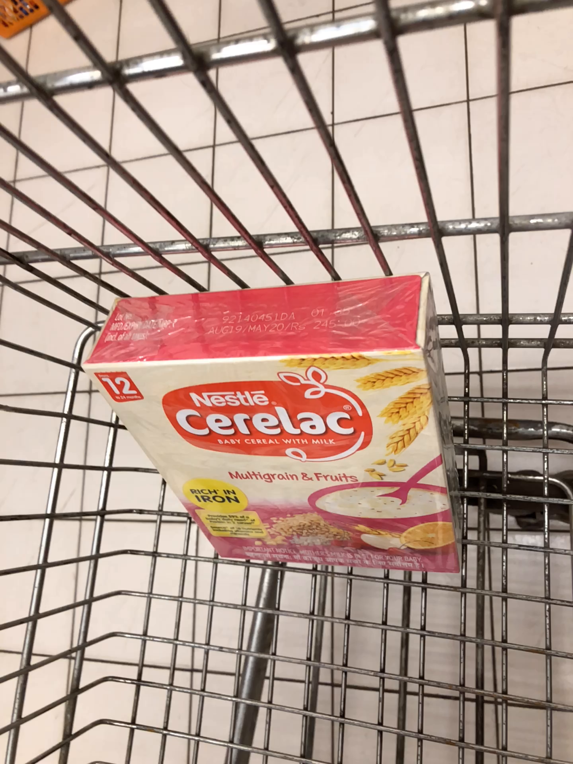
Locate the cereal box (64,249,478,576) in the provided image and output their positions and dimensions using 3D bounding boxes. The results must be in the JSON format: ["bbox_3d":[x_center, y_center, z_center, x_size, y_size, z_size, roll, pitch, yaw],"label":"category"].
[{"bbox_3d":[0.011,0.030,0.327,0.160,0.189,0.050,-1,49,19],"label":"cereal box"}]
